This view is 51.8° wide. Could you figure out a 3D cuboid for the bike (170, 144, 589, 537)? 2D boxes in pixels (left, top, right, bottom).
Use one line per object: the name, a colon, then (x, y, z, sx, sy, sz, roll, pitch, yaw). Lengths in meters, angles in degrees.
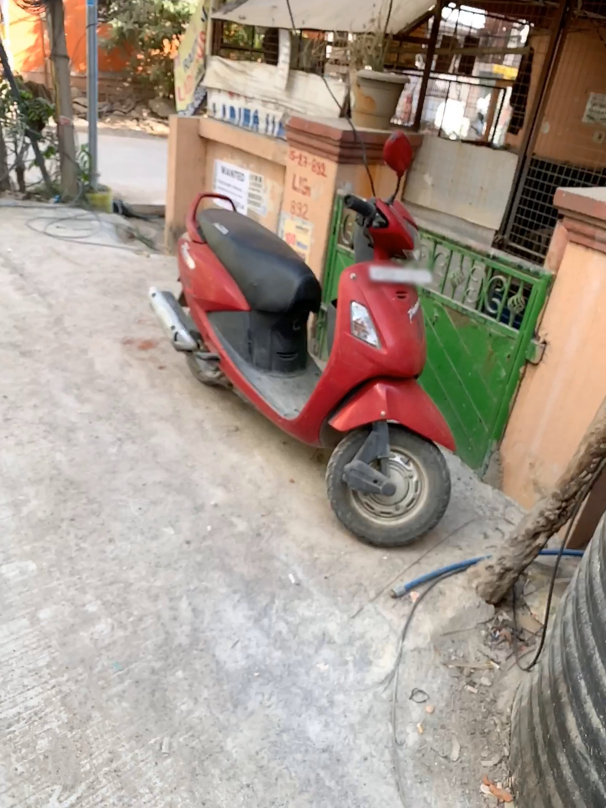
bike: (0.147, -0.334, 2.302, 0.619, 0.916, 1.274, -18, 39, -40)
